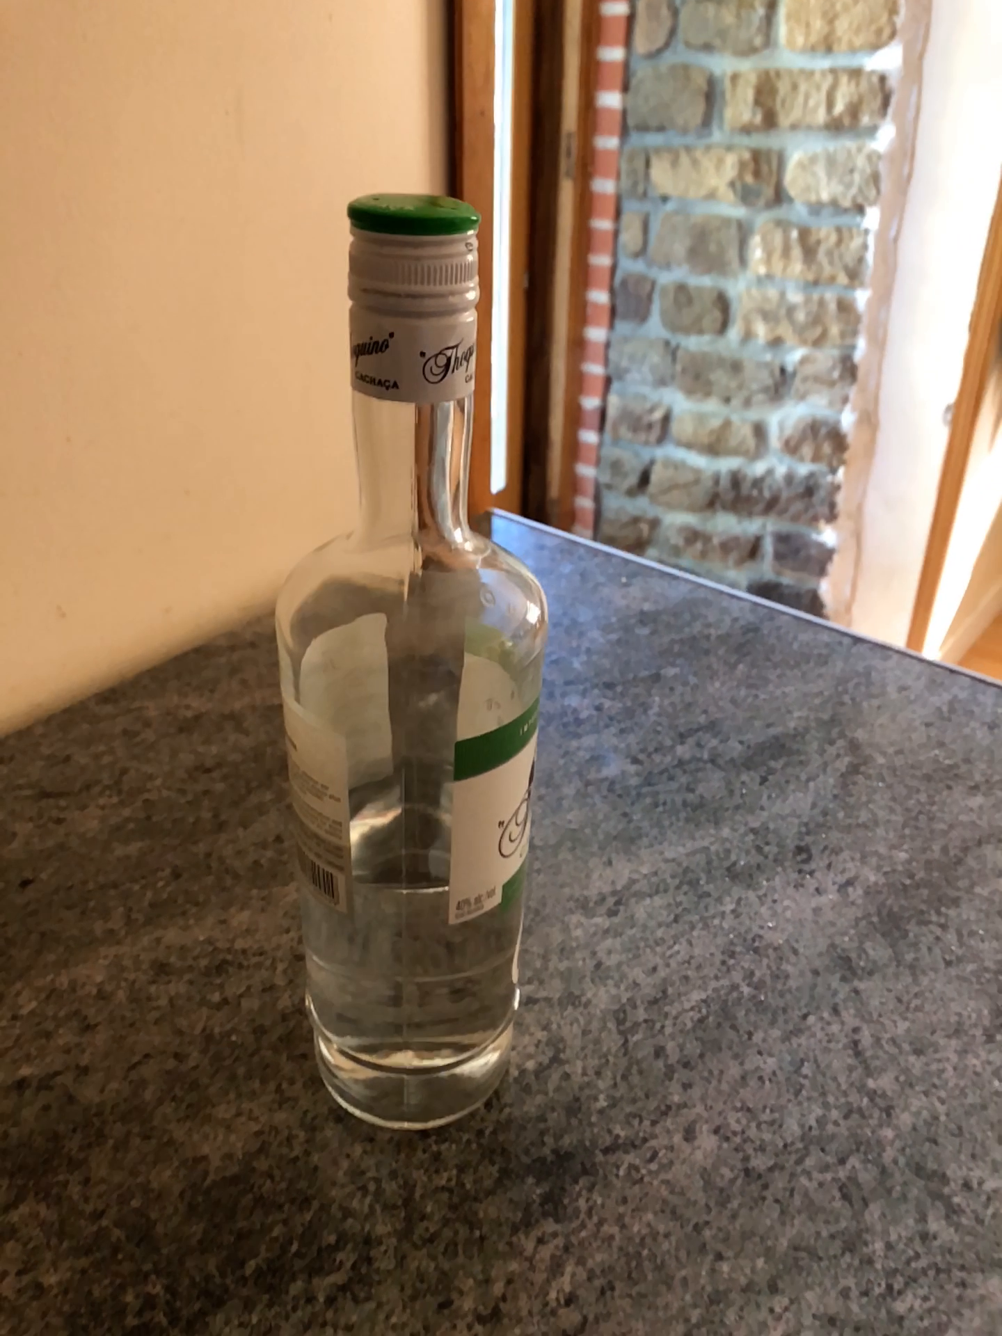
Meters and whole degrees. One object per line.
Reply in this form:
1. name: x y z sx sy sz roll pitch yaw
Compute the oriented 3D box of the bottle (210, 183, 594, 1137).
1. bottle: -0.023 0.011 0.332 0.080 0.278 0.080 1 28 0
